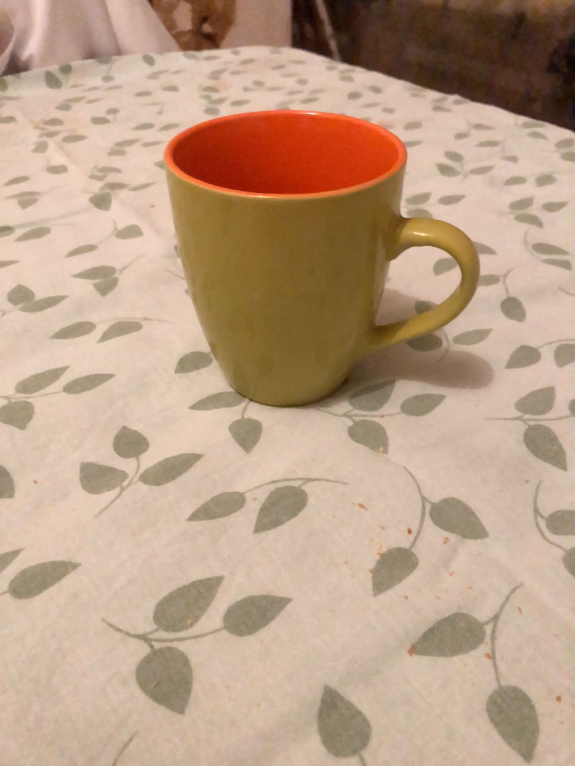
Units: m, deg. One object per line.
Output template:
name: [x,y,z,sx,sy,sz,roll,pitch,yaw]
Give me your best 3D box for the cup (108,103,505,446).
cup: [0.012,-0.047,0.253,0.120,0.089,0.091,7,40,10]
